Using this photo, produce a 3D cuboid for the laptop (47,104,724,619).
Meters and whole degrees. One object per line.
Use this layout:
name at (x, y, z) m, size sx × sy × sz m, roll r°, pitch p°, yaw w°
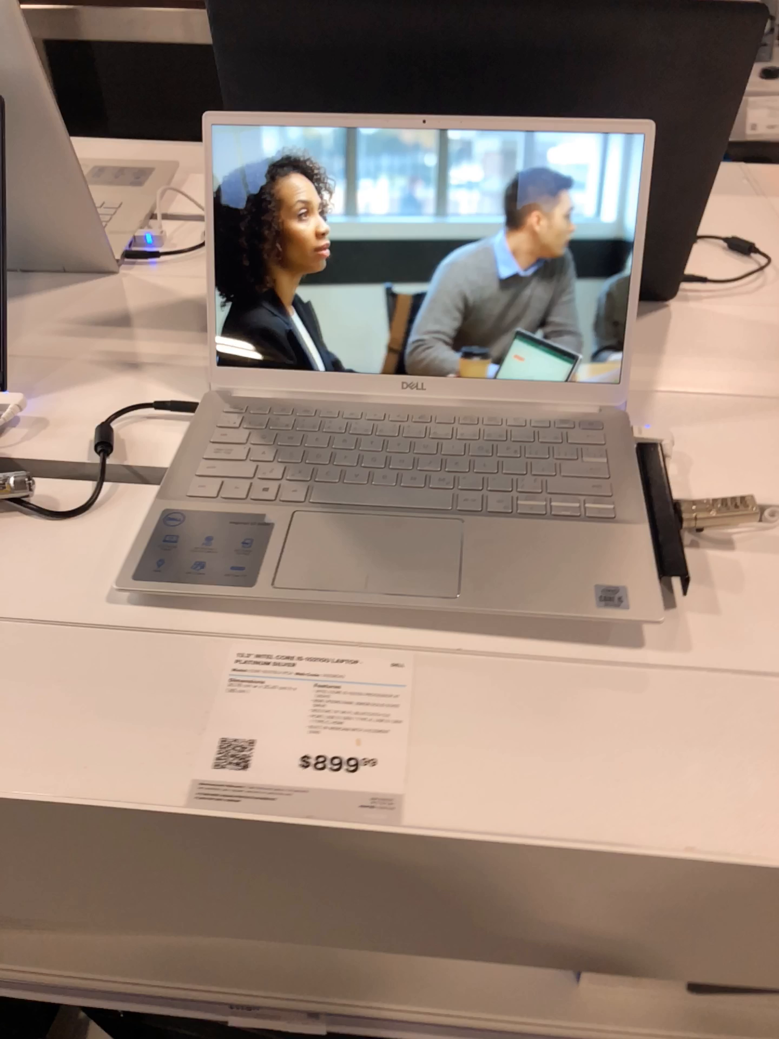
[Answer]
laptop at (0.008, -0.117, 0.528) m, size 0.293 × 0.165 × 0.294 m, roll 3°, pitch 42°, yaw 7°
